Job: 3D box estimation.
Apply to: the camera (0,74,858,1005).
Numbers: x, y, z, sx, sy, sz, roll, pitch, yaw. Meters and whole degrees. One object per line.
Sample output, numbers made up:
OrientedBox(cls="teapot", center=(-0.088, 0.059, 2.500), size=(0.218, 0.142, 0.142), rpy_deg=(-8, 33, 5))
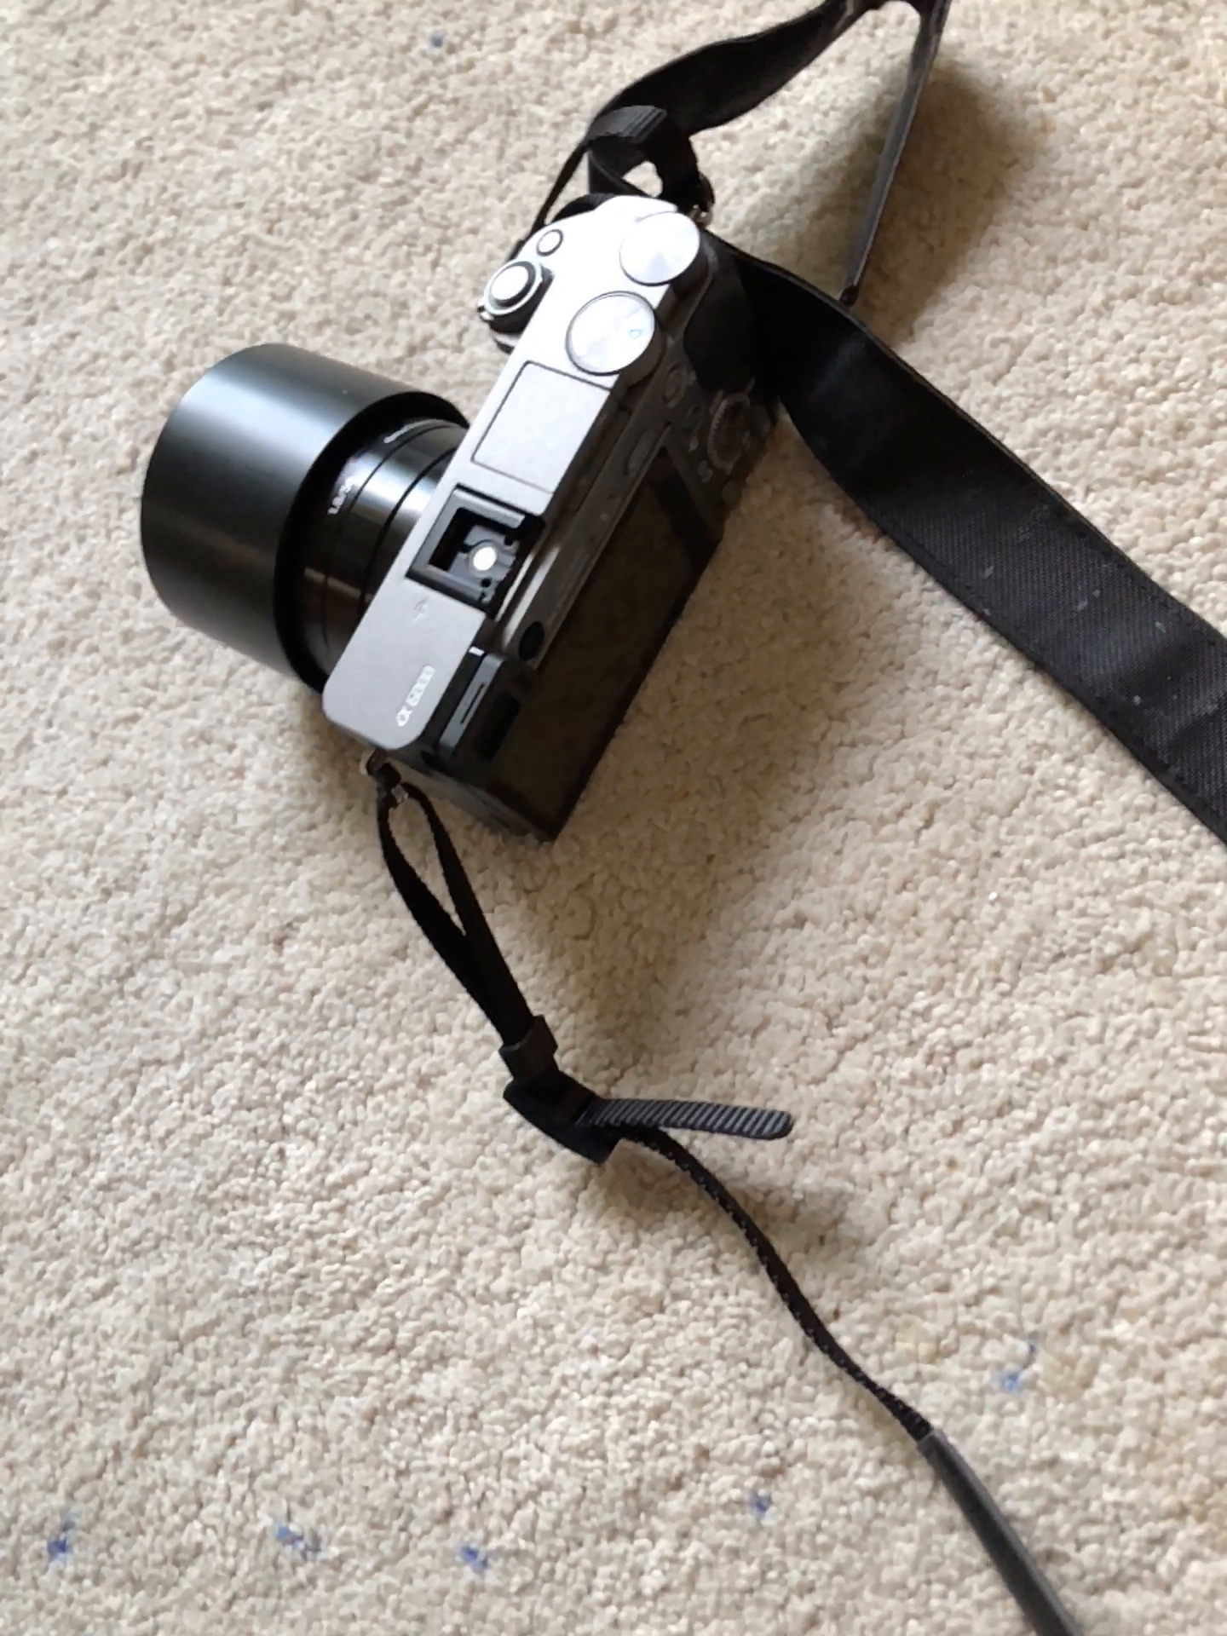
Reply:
OrientedBox(cls="camera", center=(-0.036, -0.055, 0.272), size=(0.110, 0.070, 0.140), rpy_deg=(25, 83, 23))
